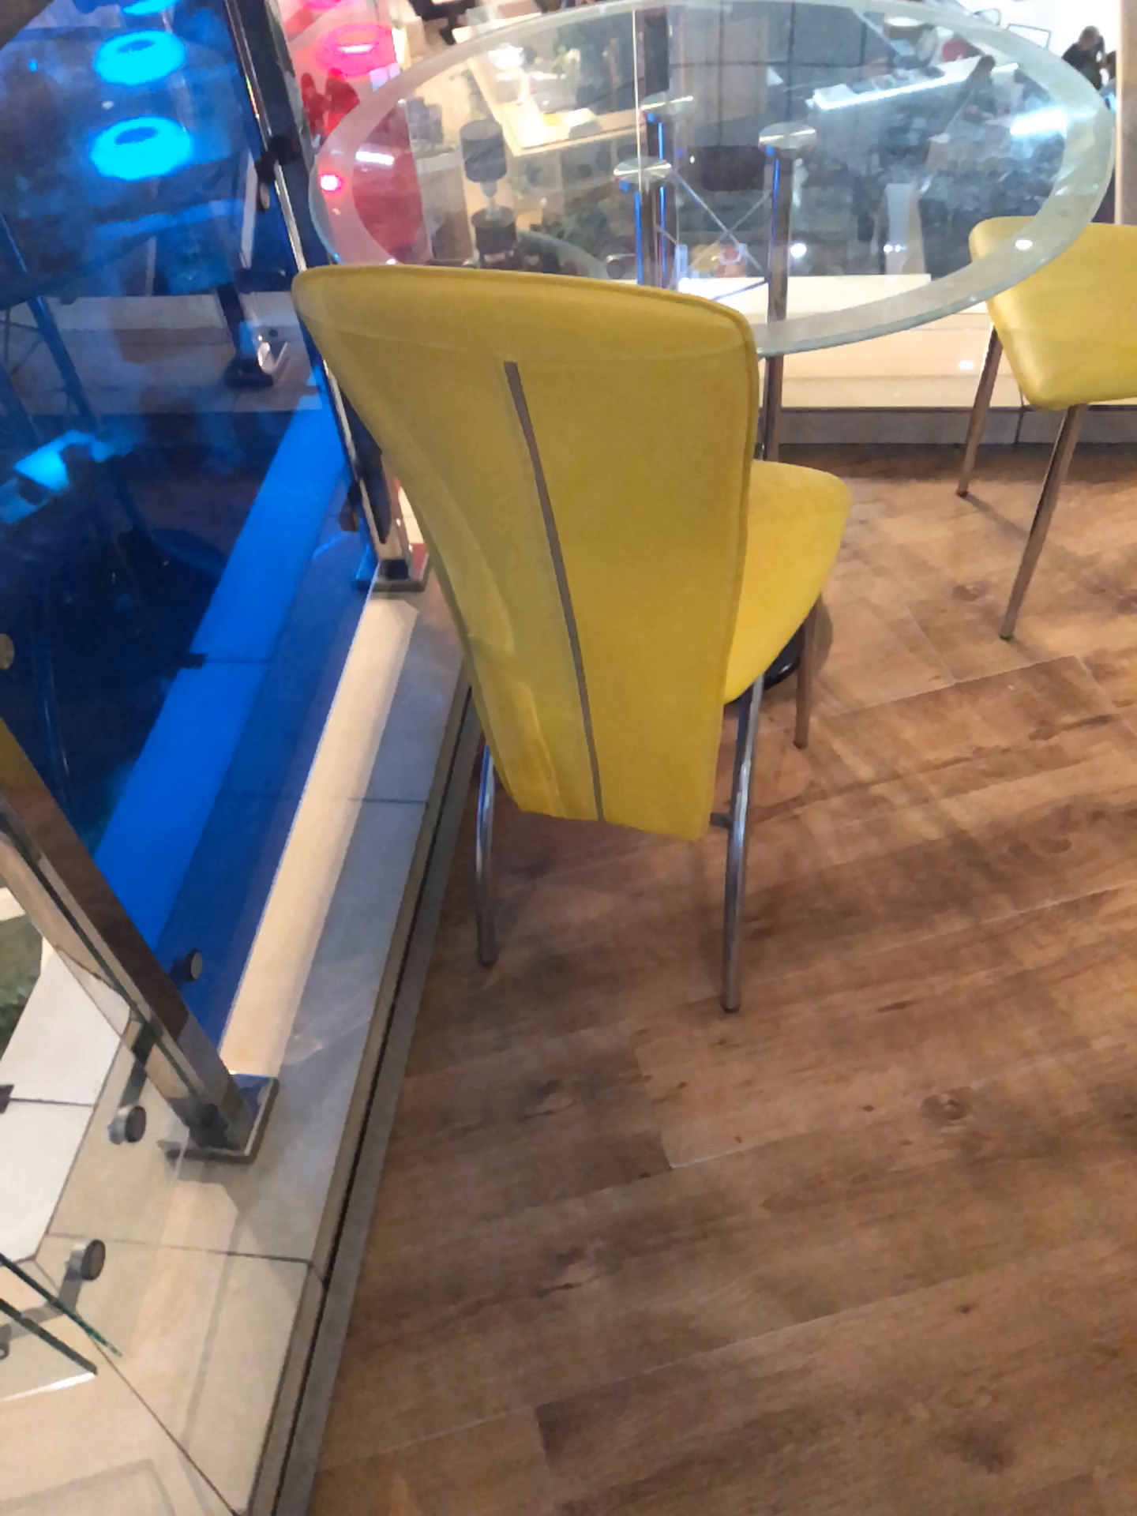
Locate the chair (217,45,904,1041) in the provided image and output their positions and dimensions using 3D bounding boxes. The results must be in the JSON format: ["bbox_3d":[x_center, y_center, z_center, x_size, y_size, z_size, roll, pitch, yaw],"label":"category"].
[{"bbox_3d":[0.061,-0.175,1.330,0.430,0.897,0.492,9,51,14],"label":"chair"}]
